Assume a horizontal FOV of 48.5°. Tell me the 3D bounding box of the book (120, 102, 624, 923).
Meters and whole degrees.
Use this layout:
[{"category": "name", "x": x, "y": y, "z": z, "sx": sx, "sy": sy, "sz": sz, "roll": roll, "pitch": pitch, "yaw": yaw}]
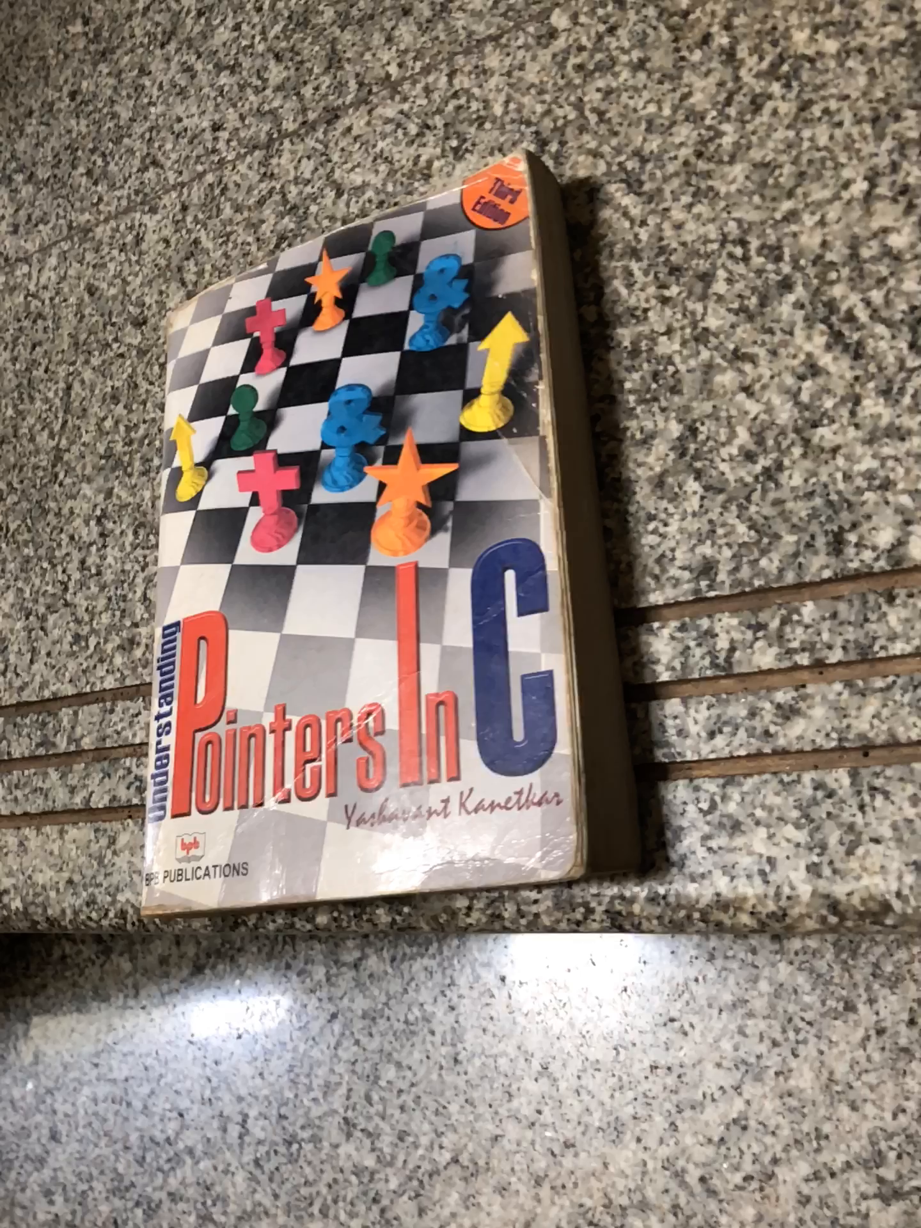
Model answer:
[{"category": "book", "x": -0.032, "y": -0.027, "z": 0.304, "sx": 0.140, "sy": 0.030, "sz": 0.220, "roll": -13, "pitch": 68, "yaw": 28}]
